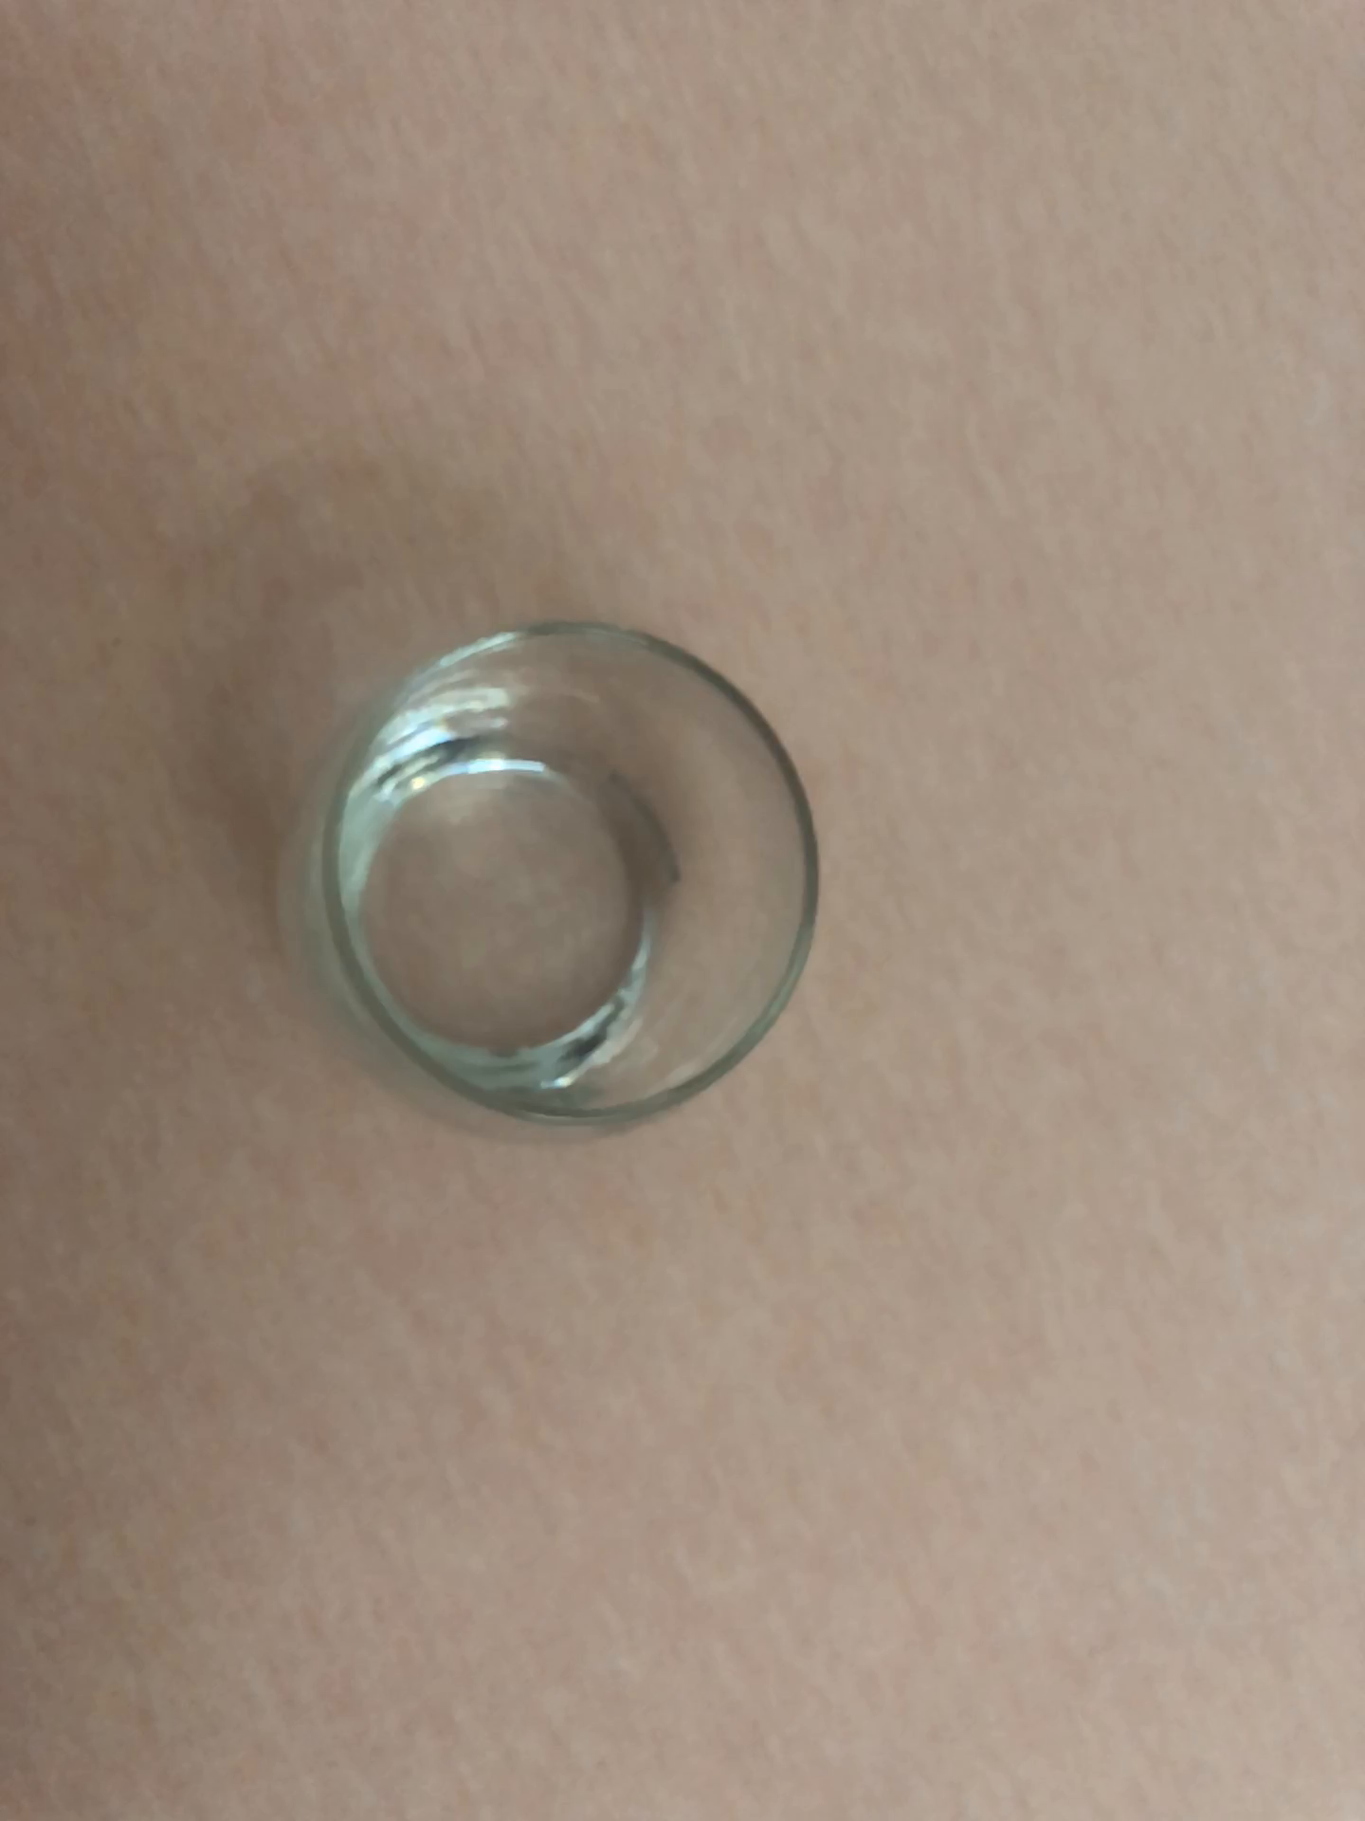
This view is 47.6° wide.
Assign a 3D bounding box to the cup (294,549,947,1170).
[{"bbox_3d":[-0.019,-0.007,0.301,0.090,0.100,0.090,2,85,-17],"label":"cup"}]
